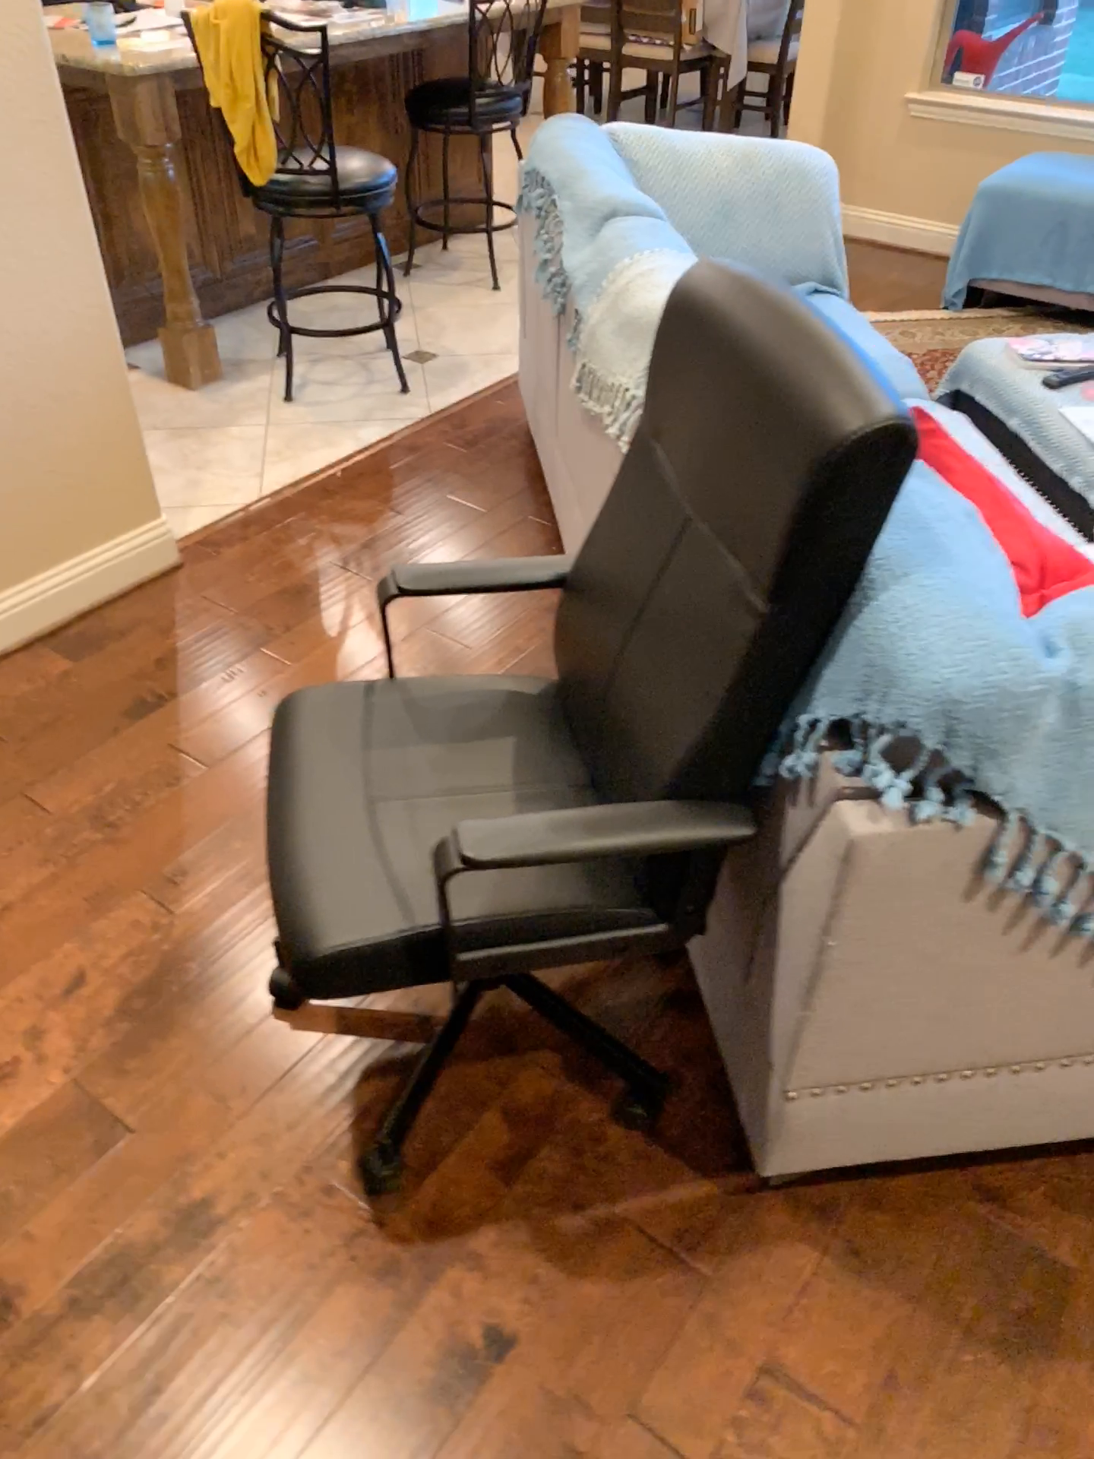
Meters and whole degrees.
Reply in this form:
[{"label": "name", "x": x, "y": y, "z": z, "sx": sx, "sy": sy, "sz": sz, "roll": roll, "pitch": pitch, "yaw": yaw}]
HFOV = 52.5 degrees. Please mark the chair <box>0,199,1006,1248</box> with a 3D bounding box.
[{"label": "chair", "x": -0.087, "y": -0.013, "z": 1.425, "sx": 0.759, "sy": 1.037, "sz": 0.738, "roll": -6, "pitch": 40, "yaw": -9}]
